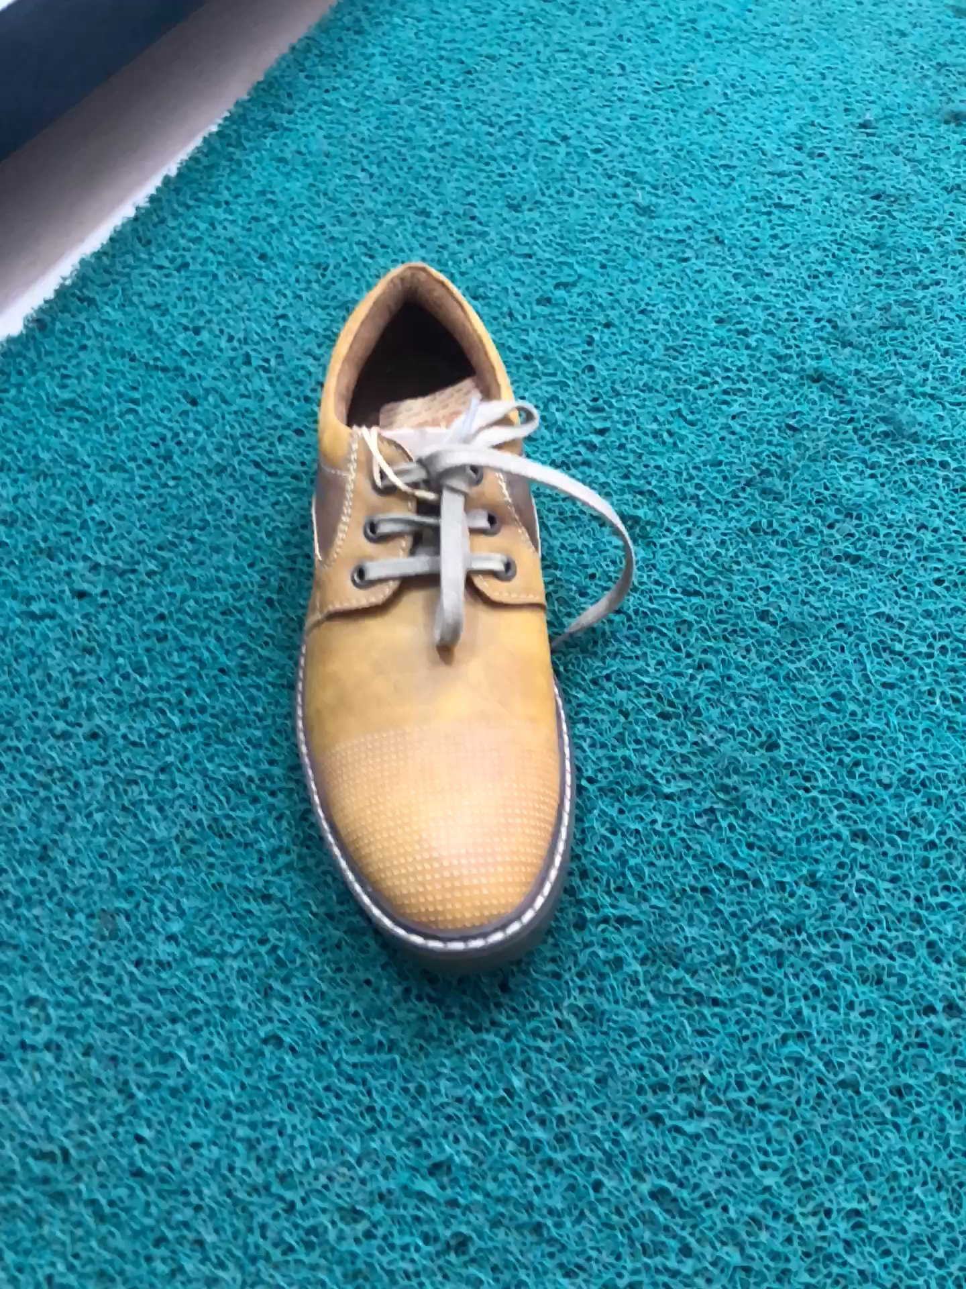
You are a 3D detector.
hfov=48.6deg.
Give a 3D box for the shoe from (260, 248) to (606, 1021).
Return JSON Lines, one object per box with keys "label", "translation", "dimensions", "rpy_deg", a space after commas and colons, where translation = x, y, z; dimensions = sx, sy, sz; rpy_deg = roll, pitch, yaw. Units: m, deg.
{"label": "shoe", "translation": [-0.025, -0.020, 0.438], "dimensions": [0.100, 0.110, 0.301], "rpy_deg": [-6, 55, -1]}
